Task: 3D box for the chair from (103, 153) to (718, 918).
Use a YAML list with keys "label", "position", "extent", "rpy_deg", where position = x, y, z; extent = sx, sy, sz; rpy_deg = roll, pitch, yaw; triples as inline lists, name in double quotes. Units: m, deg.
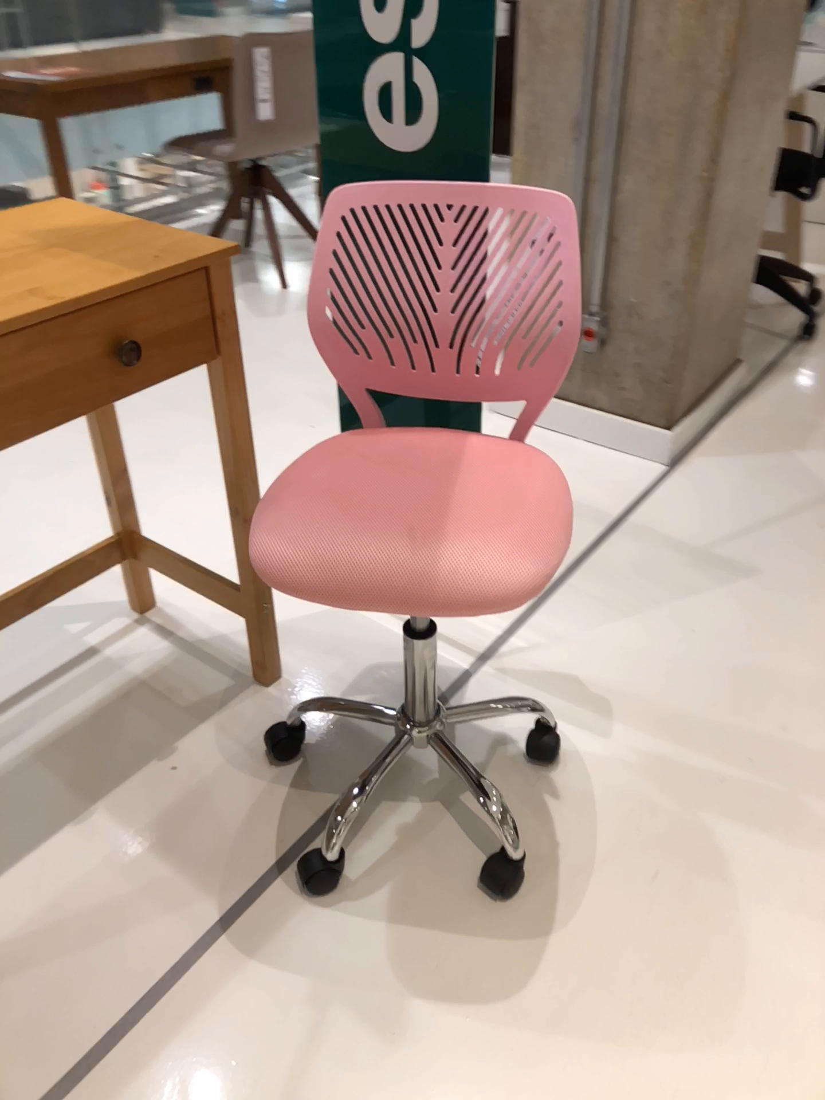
- label: "chair"
  position: [0.012, -0.018, 1.182]
  extent: [0.500, 0.833, 0.524]
  rpy_deg: [2, 34, 3]
